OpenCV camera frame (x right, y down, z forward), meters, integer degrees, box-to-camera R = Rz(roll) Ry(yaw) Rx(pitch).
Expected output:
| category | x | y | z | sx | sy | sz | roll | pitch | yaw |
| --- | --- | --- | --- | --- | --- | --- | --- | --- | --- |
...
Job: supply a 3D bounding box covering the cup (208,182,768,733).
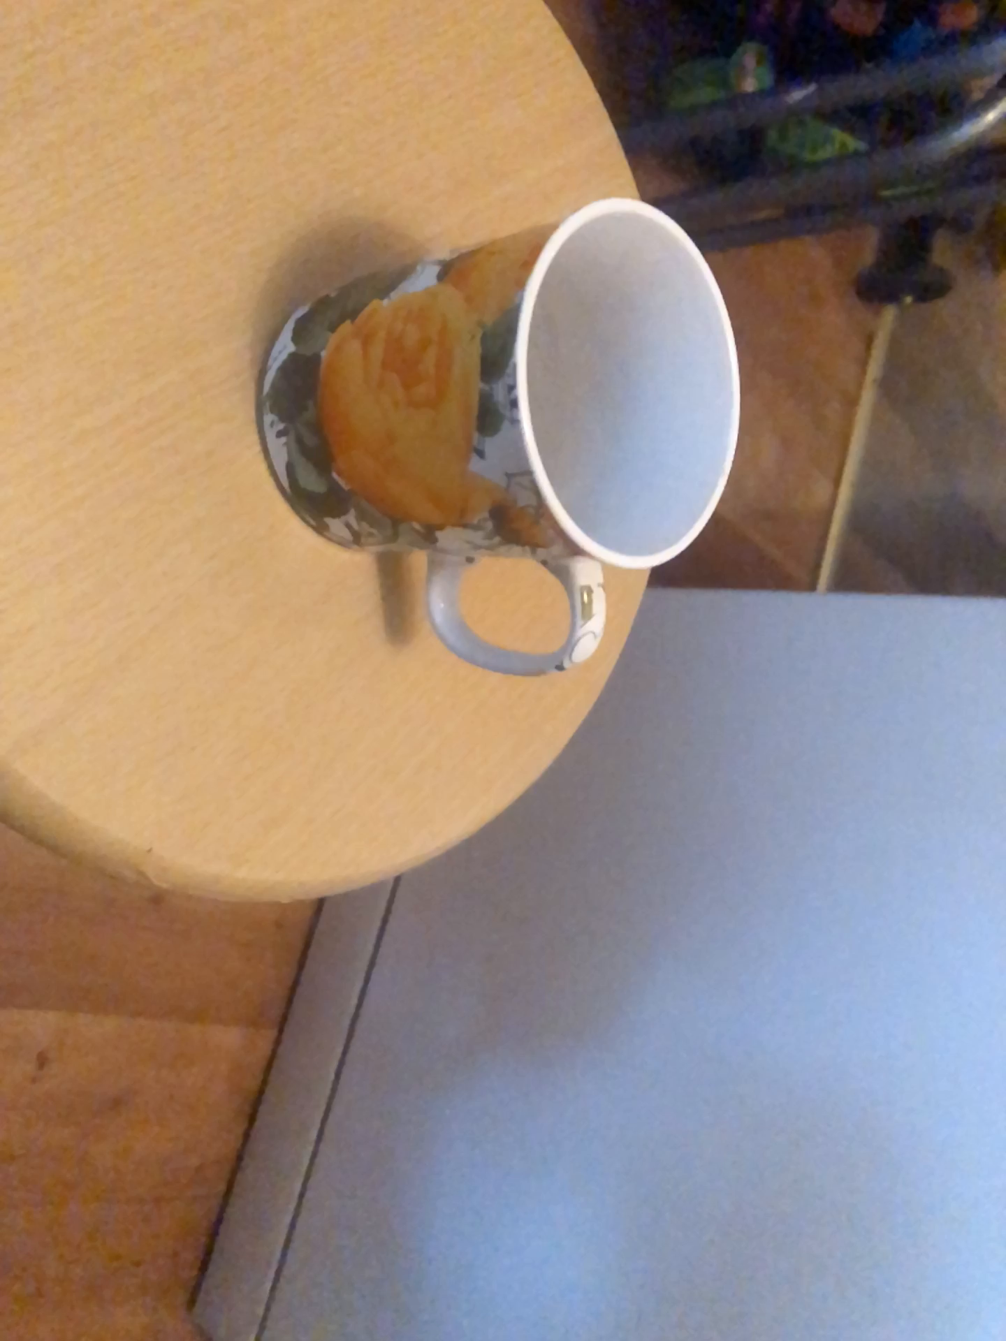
| category | x | y | z | sx | sy | sz | roll | pitch | yaw |
| --- | --- | --- | --- | --- | --- | --- | --- | --- | --- |
| cup | -0.002 | -0.054 | 0.285 | 0.083 | 0.097 | 0.110 | -23 | 110 | -43 |
